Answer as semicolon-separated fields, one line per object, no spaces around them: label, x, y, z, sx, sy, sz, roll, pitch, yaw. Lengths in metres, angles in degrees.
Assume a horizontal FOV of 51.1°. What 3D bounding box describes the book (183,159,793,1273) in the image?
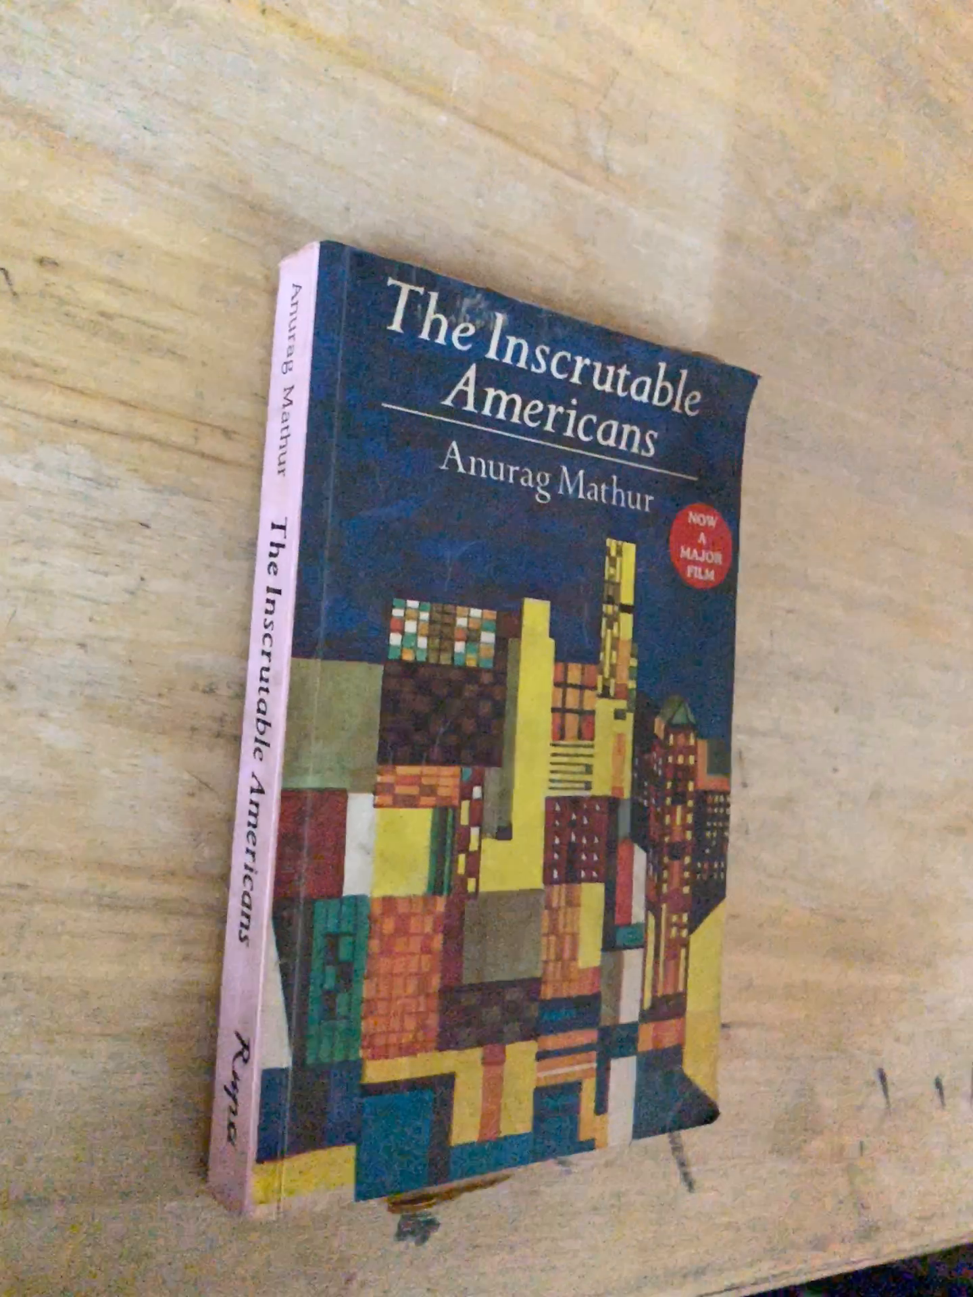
book;0.009;0.012;0.210;0.120;0.030;0.180;6;84;-33
